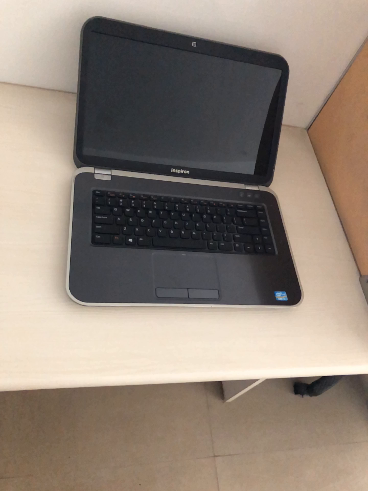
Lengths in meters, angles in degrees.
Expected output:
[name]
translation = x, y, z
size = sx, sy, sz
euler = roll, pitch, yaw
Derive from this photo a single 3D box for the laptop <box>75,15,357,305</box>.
[laptop]
translation = 0.019, -0.132, 0.635
size = 0.339, 0.152, 0.410
euler = 4, 58, -16
